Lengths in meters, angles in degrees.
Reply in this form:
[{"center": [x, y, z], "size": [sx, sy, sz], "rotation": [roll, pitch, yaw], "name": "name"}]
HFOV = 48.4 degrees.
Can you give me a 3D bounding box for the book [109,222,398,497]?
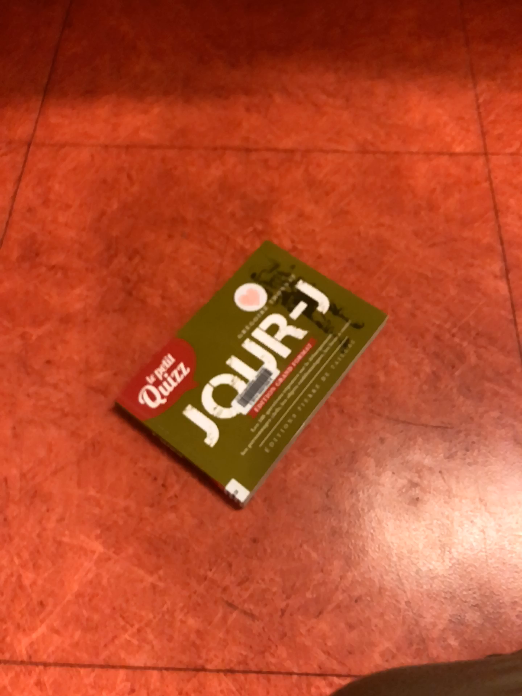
[{"center": [-0.001, -0.003, 0.495], "size": [0.136, 0.016, 0.218], "rotation": [35, 66, 17], "name": "book"}]
